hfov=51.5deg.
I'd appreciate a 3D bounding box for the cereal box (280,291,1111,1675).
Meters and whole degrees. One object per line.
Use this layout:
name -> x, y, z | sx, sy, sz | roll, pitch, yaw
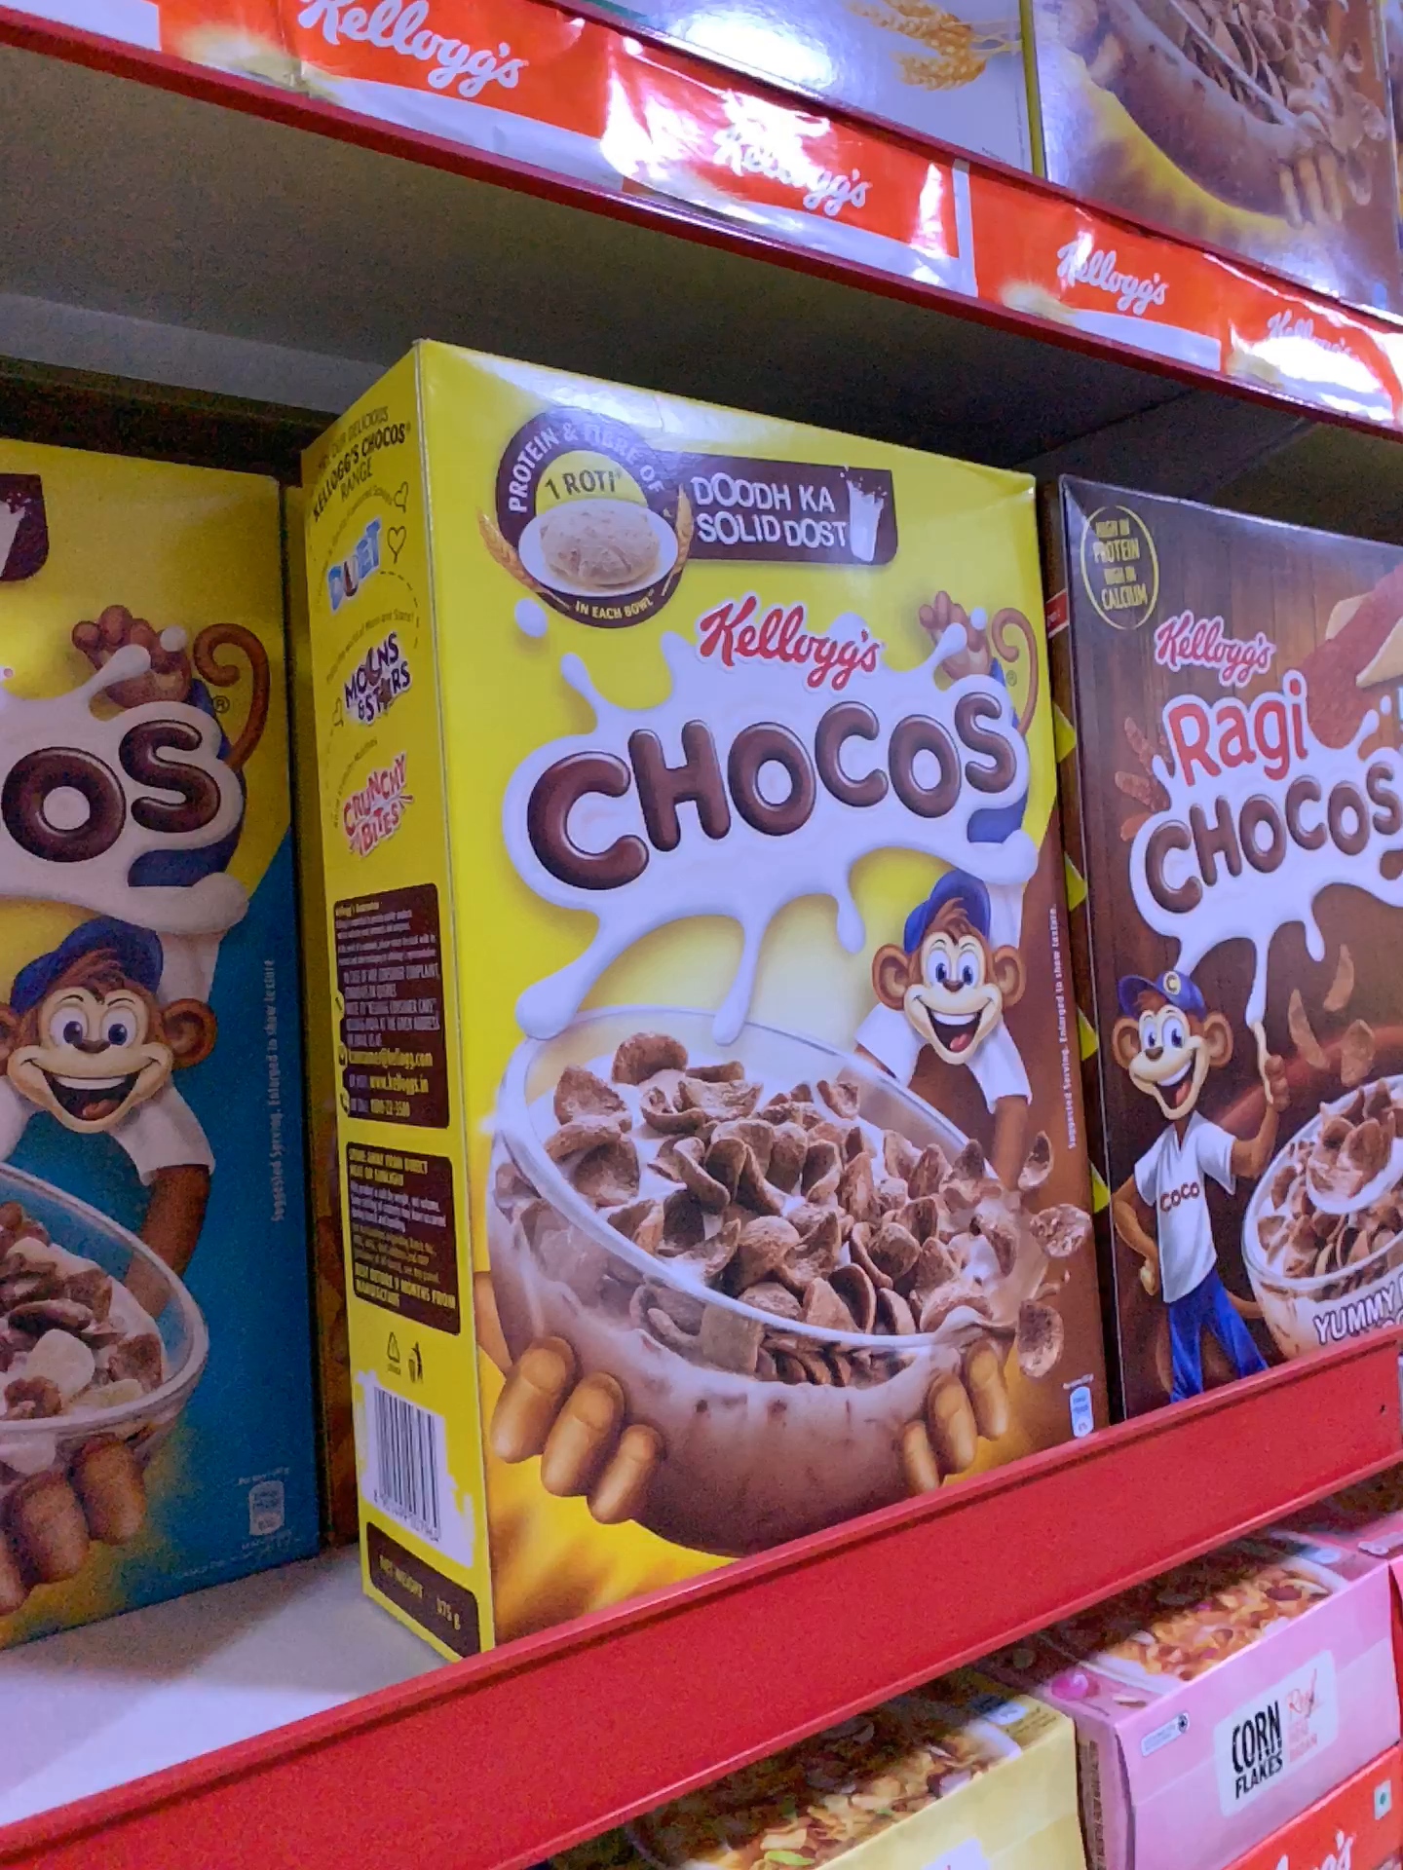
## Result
cereal box -> 0.005, 0.004, 0.327 | 0.170, 0.240, 0.060 | -2, -2, -36
